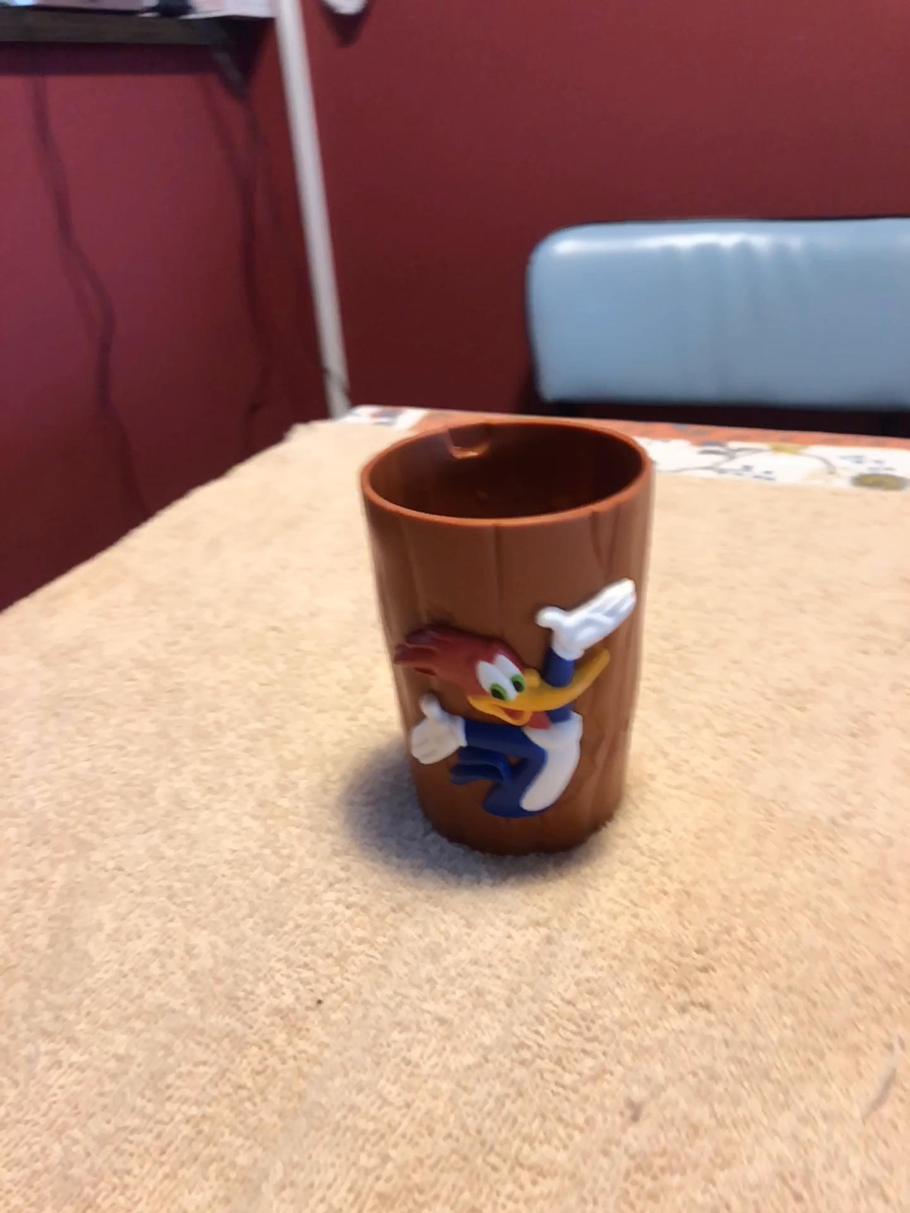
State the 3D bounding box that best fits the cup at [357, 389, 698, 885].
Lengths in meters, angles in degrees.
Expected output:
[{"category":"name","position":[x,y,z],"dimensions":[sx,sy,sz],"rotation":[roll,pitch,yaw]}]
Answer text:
[{"category":"cup","position":[0.017,0.005,0.300],"dimensions":[0.080,0.109,0.091],"rotation":[-6,26,-2]}]
